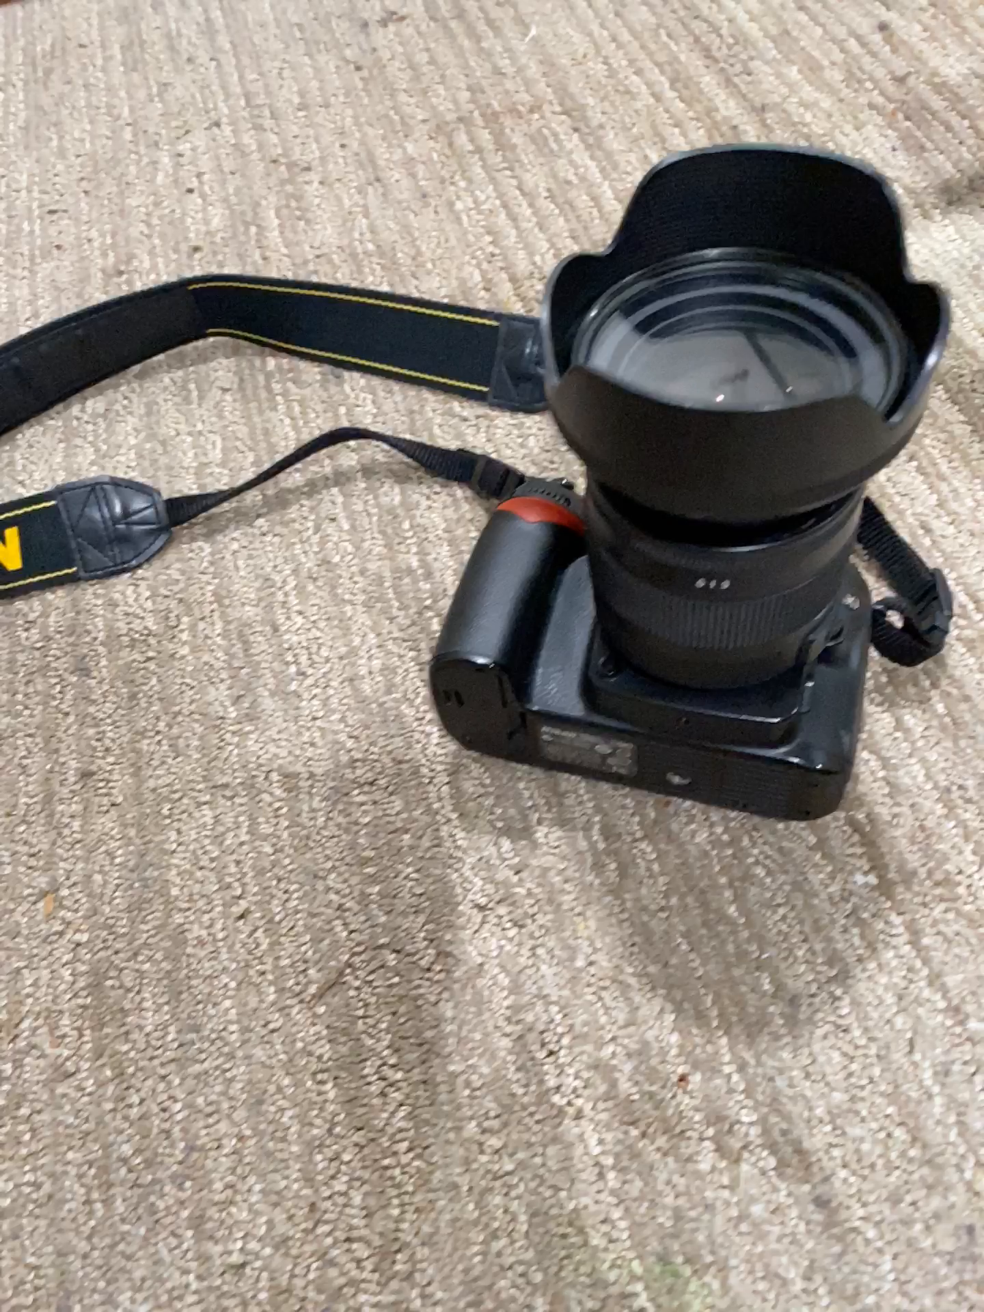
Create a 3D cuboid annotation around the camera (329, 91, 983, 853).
[{"bbox_3d":[0.054,-0.045,0.292,0.138,0.165,0.114,11,56,13],"label":"camera"}]
